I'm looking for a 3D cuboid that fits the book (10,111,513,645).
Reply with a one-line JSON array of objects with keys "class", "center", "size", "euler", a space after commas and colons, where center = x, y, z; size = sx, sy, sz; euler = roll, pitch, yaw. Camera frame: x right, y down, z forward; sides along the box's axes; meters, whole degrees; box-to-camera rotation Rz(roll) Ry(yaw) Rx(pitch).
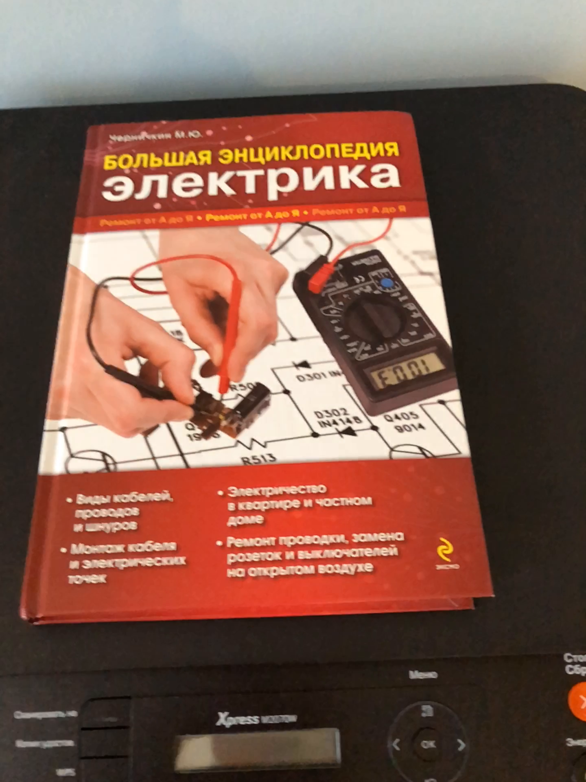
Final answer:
[{"class": "book", "center": [-0.014, -0.020, 0.291], "size": [0.170, 0.040, 0.241], "euler": [-2, 64, 0]}]
